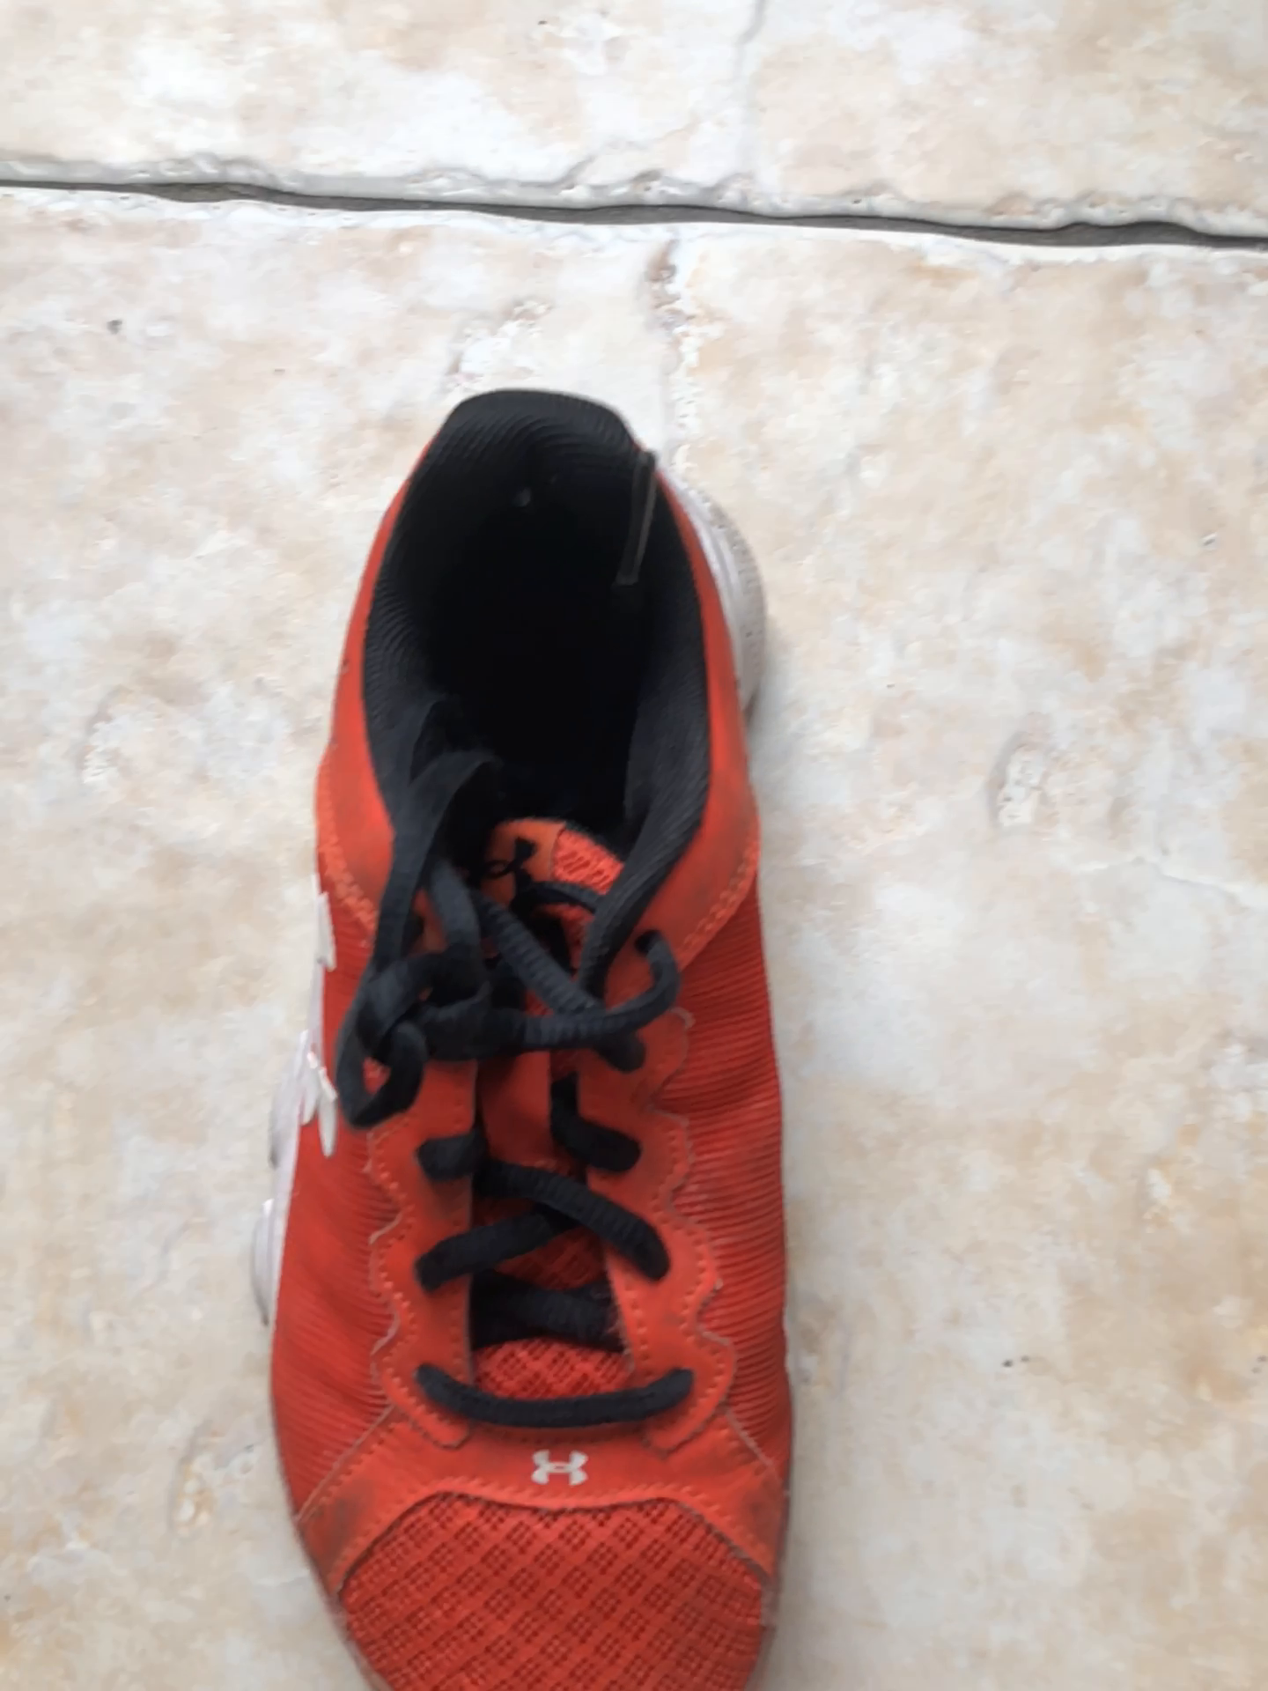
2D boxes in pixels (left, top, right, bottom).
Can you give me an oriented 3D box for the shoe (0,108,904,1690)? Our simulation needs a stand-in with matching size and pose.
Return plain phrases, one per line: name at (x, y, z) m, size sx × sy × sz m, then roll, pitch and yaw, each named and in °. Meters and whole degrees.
shoe at (-0.020, 0.034, 0.205) m, size 0.100 × 0.100 × 0.240 m, roll 1°, pitch 80°, yaw 2°
